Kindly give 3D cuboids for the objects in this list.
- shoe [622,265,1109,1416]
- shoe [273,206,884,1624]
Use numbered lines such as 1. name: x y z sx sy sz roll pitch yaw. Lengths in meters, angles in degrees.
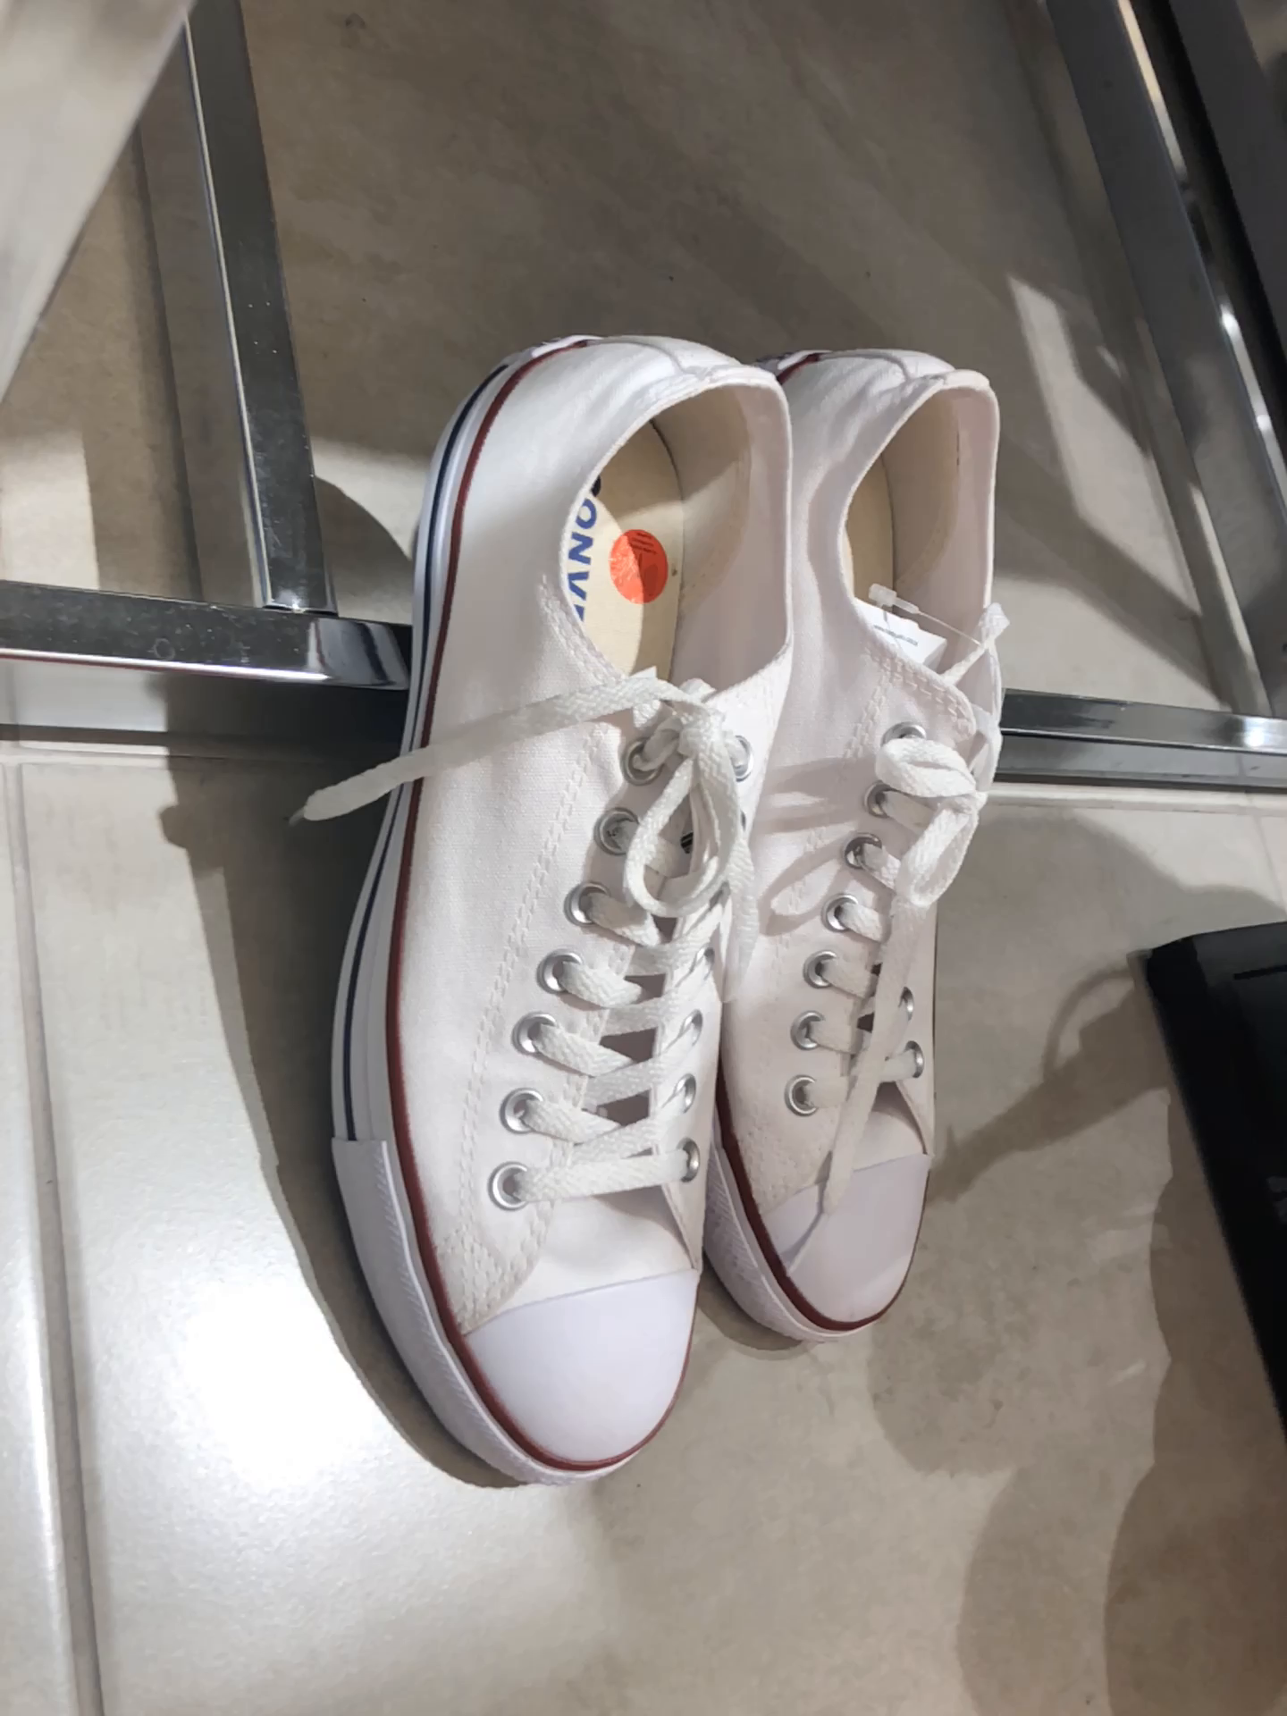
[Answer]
1. shoe: 0.064 -0.005 0.424 0.101 0.090 0.290 -1 95 -38
2. shoe: -0.018 0.012 0.359 0.111 0.090 0.290 1 93 -37
